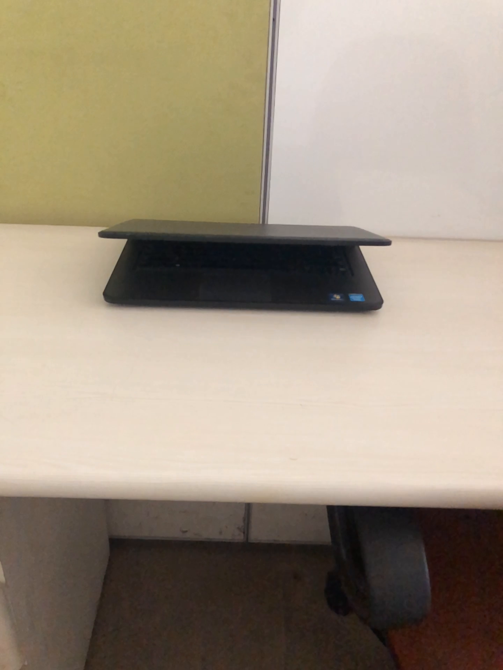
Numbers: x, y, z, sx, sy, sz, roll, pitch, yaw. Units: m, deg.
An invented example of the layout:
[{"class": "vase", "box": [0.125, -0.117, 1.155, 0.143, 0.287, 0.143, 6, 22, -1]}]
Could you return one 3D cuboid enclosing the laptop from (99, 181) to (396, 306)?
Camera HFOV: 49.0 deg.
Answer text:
[{"class": "laptop", "box": [-0.006, -0.127, 0.715, 0.322, 0.072, 0.230, 1, 30, -2]}]
